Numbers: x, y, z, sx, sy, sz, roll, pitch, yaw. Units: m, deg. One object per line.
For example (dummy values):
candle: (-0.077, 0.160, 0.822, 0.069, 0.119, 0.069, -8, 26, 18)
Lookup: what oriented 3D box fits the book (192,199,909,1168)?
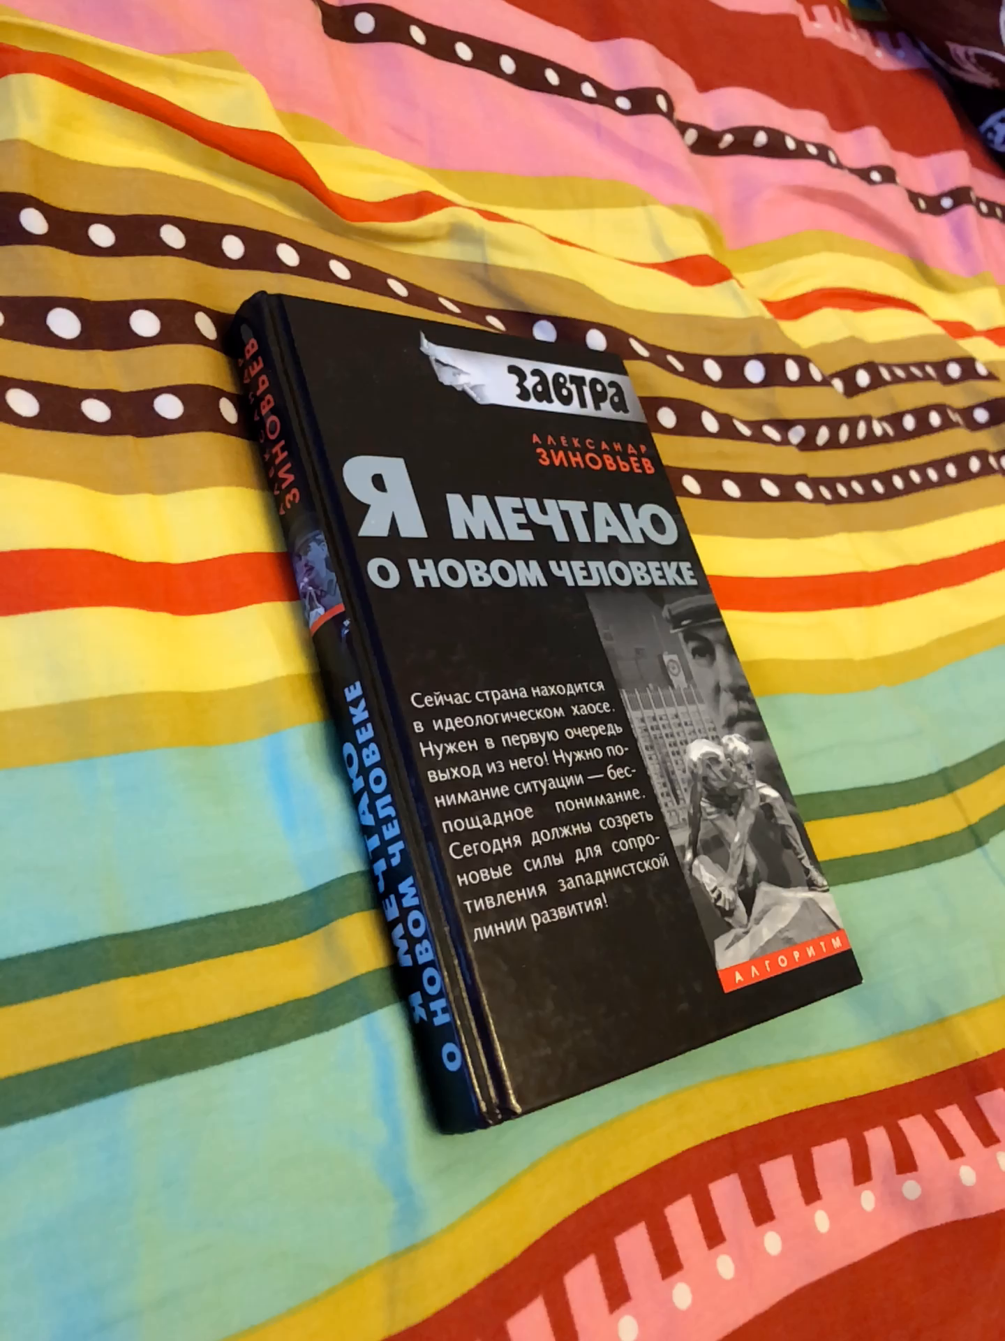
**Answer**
book: (0.013, -0.009, 0.290, 0.141, 0.030, 0.220, -3, 69, -39)
